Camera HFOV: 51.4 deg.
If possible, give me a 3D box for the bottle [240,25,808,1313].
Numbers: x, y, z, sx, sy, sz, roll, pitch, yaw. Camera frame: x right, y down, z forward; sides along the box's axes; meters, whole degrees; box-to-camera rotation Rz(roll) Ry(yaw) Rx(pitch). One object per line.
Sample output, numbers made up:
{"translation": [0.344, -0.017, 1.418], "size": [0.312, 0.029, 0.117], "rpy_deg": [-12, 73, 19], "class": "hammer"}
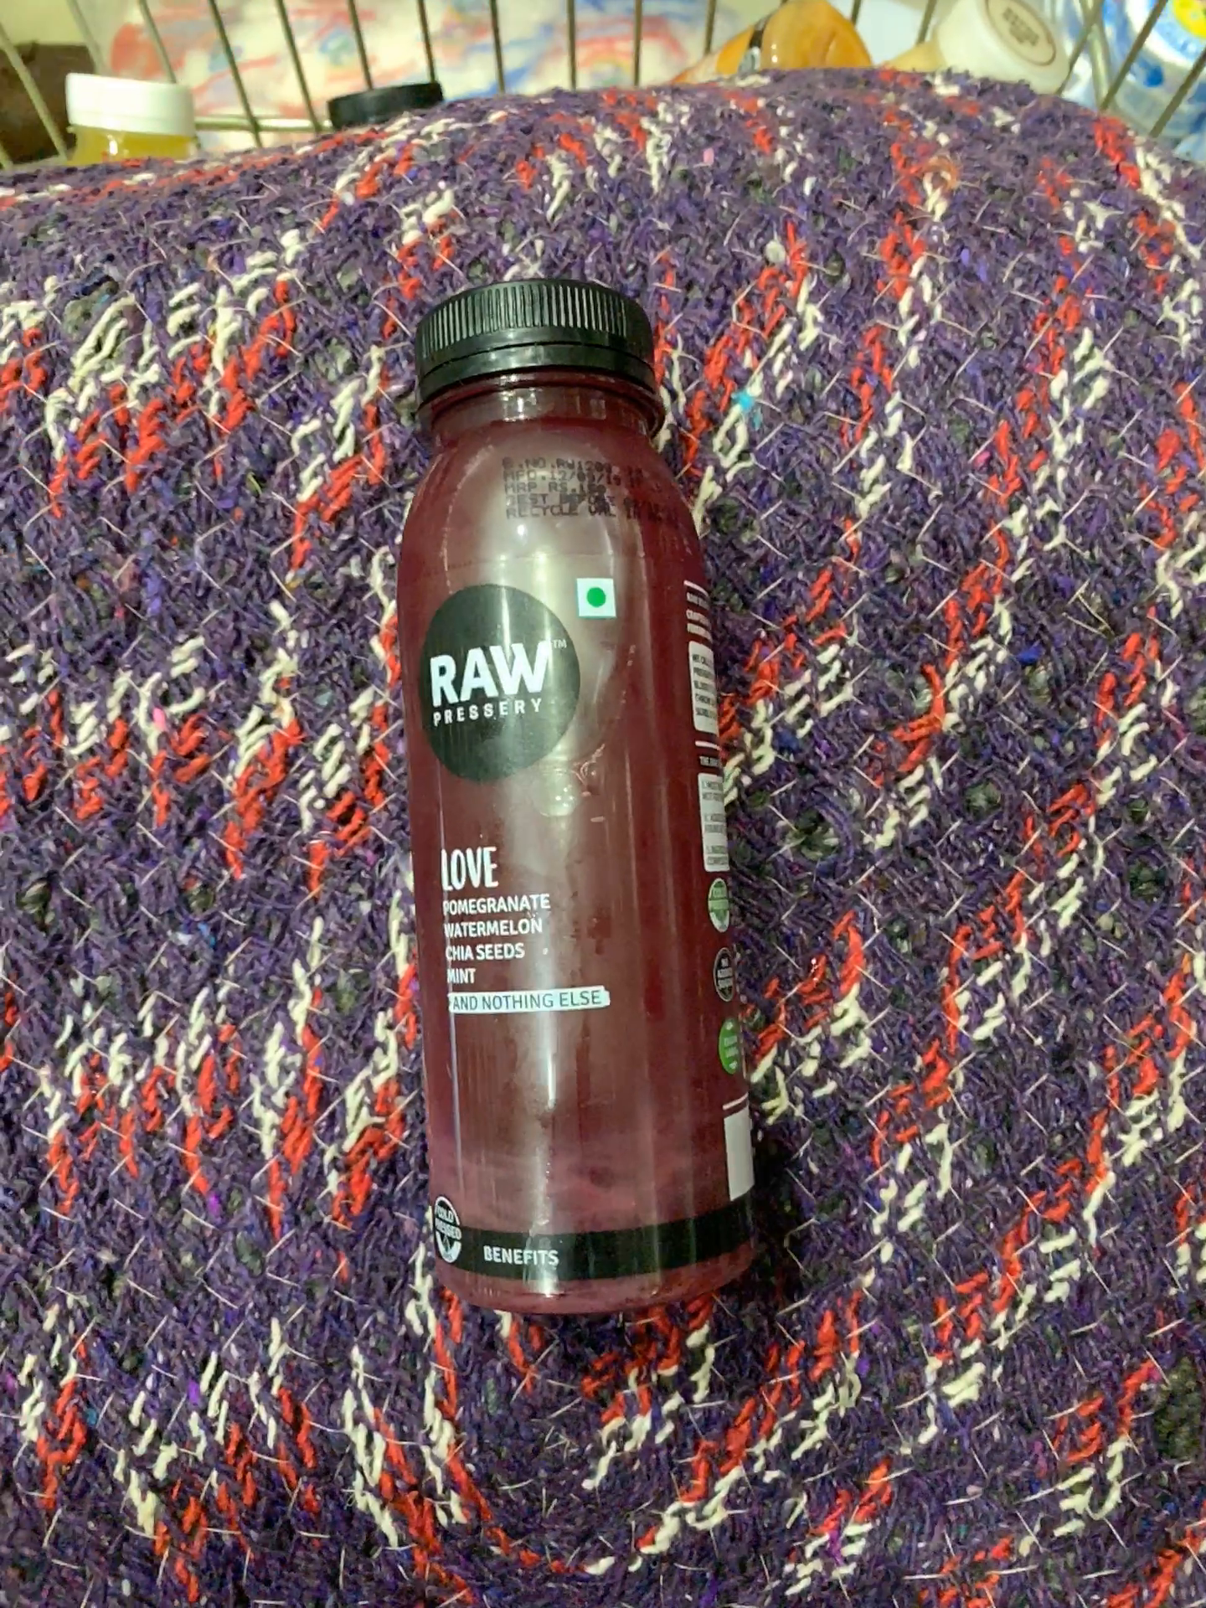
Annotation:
{"translation": [-0.011, -0.017, 0.201], "size": [0.060, 0.060, 0.170], "rpy_deg": [-6, 84, 22], "class": "bottle"}
